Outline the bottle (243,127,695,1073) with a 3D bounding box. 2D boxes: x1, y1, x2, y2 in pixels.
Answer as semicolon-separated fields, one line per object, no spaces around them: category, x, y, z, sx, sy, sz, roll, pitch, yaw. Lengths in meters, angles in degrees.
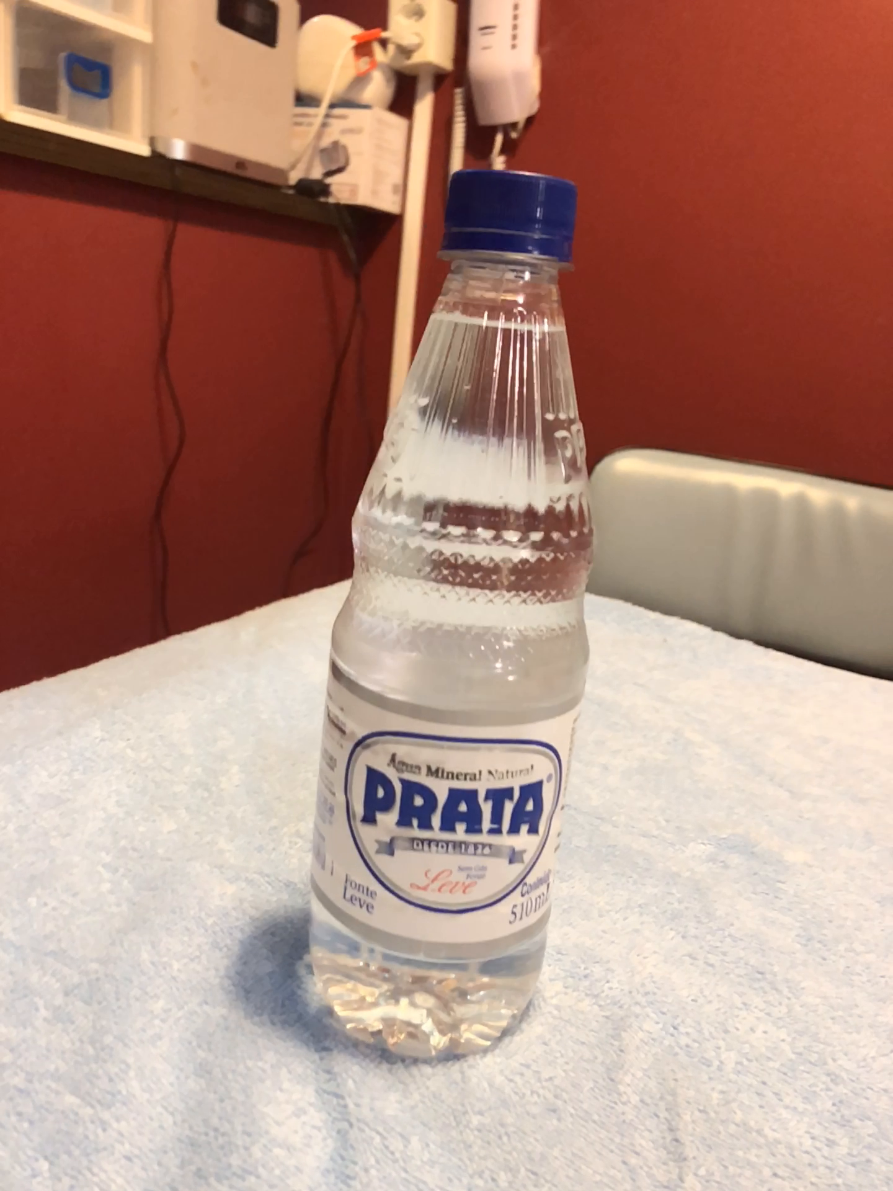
bottle;-0.003;0.007;0.260;0.080;0.219;0.070;4;15;-6
